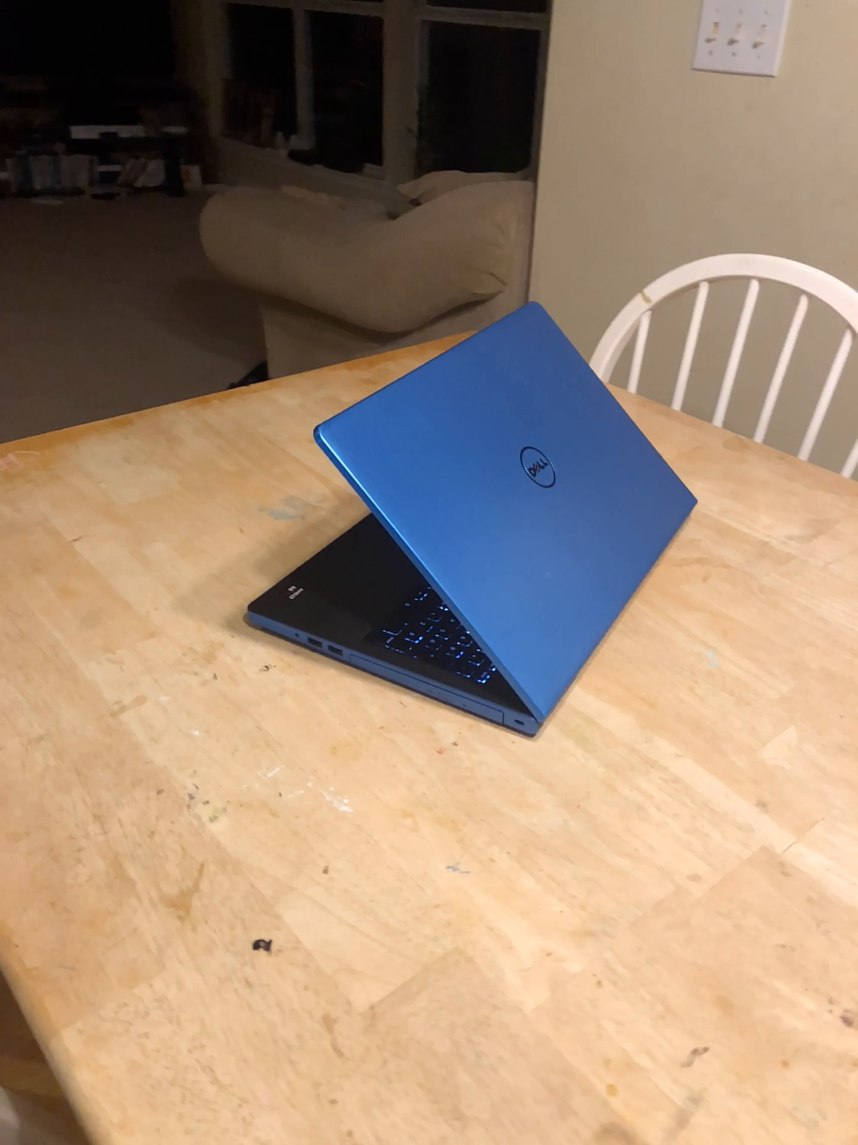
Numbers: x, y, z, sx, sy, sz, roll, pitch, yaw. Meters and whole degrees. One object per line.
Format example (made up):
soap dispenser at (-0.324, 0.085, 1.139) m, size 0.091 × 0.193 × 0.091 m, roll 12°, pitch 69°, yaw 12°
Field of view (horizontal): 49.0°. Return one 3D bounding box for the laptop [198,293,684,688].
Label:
laptop at (0.030, -0.100, 0.798) m, size 0.248 × 0.159 × 0.363 m, roll 16°, pitch 34°, yaw 23°
